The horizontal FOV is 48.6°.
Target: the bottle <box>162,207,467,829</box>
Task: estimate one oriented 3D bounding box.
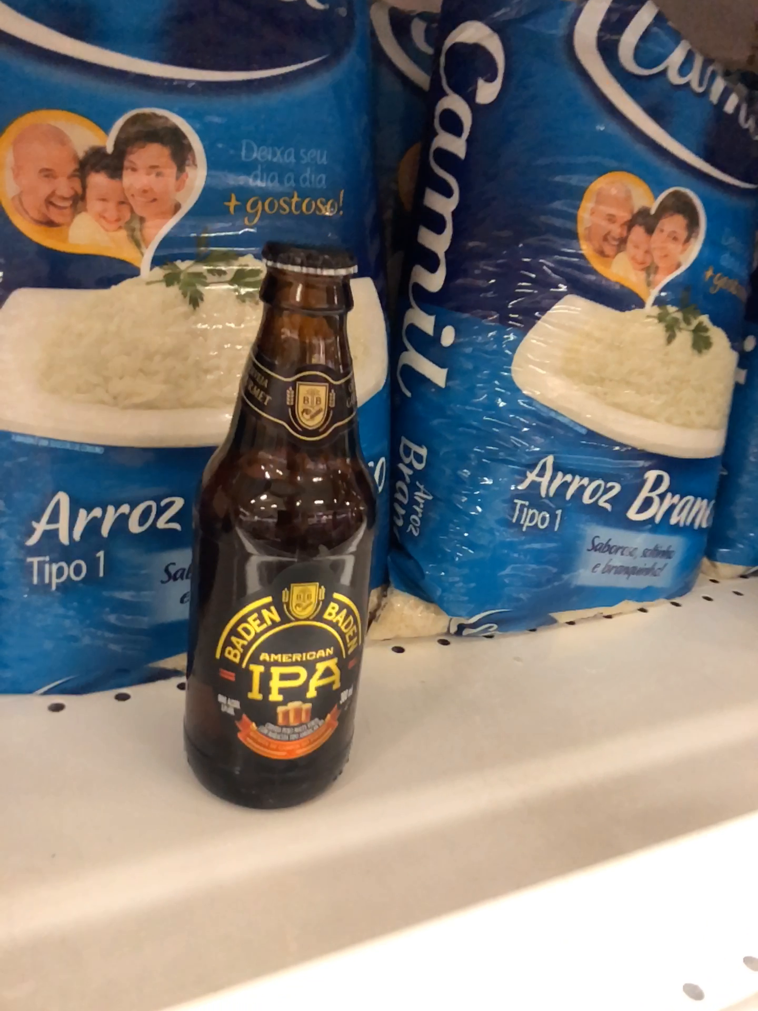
[{"bbox_3d":[-0.030,0.007,0.278,0.070,0.189,0.060,0,24,-19],"label":"bottle"}]
